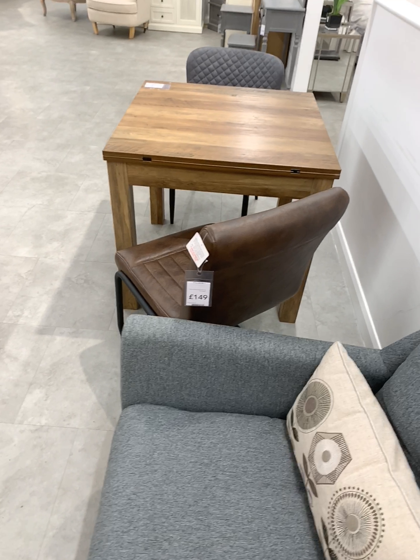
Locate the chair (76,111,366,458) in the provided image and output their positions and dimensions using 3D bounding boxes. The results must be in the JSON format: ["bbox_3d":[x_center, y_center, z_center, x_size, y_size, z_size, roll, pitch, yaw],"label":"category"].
[{"bbox_3d":[-0.024,-0.010,1.368,0.499,0.773,0.636,-19,45,-25],"label":"chair"}]
